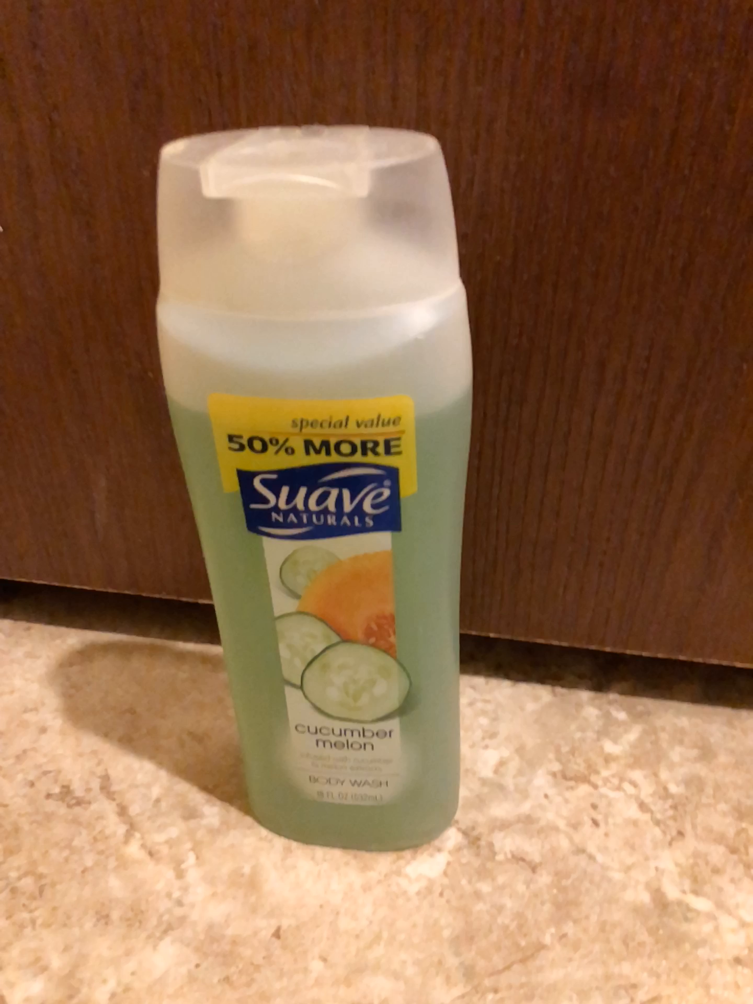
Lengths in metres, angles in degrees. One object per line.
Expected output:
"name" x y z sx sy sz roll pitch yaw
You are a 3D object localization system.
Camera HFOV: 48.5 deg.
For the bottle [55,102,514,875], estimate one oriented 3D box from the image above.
"bottle" -0.011 0.017 0.250 0.090 0.239 0.050 1 35 6
